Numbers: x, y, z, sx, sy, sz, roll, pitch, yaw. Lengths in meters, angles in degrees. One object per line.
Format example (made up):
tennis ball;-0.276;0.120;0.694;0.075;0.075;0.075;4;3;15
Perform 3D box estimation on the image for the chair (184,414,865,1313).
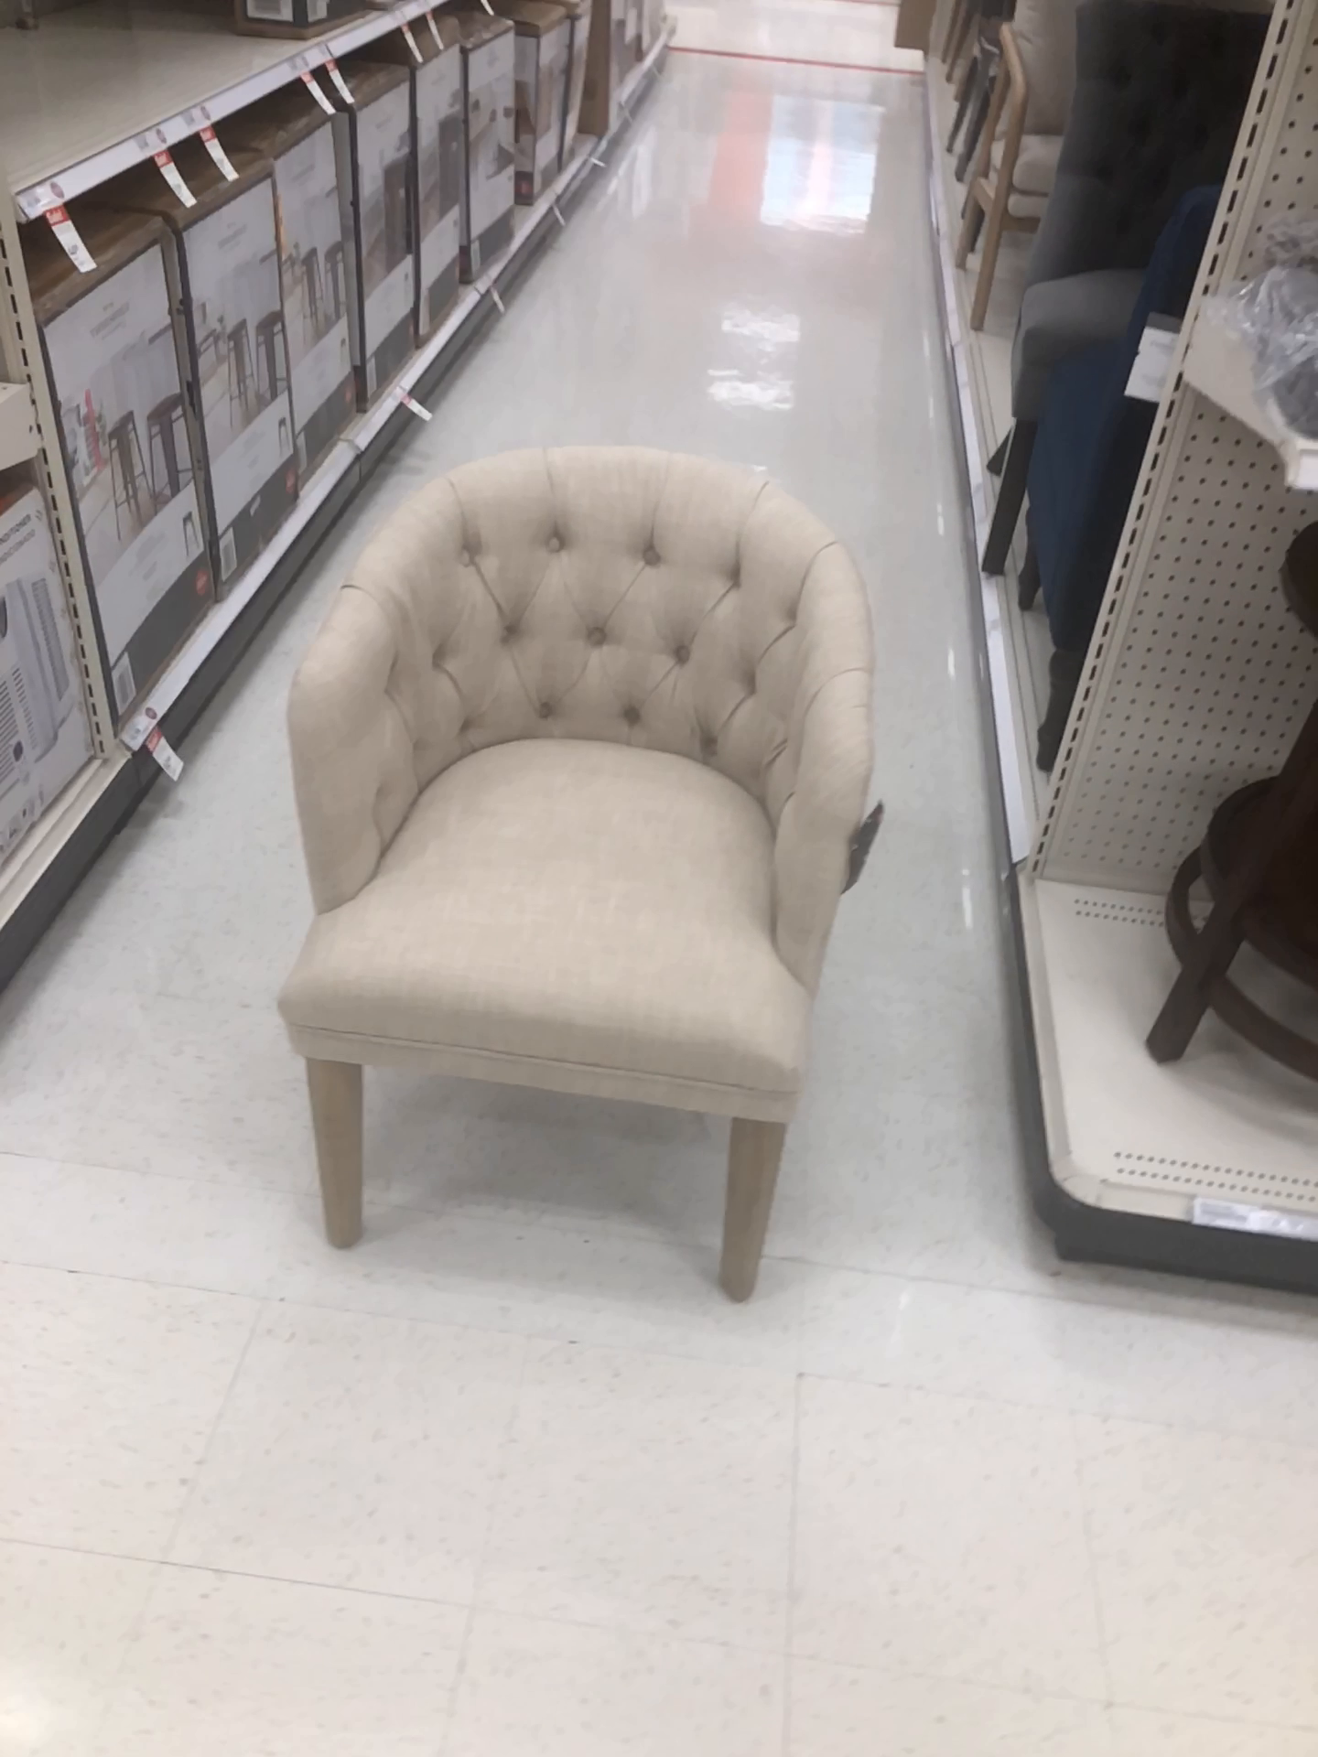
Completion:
chair;-0.103;-0.037;1.660;0.561;0.700;0.685;7;38;2
